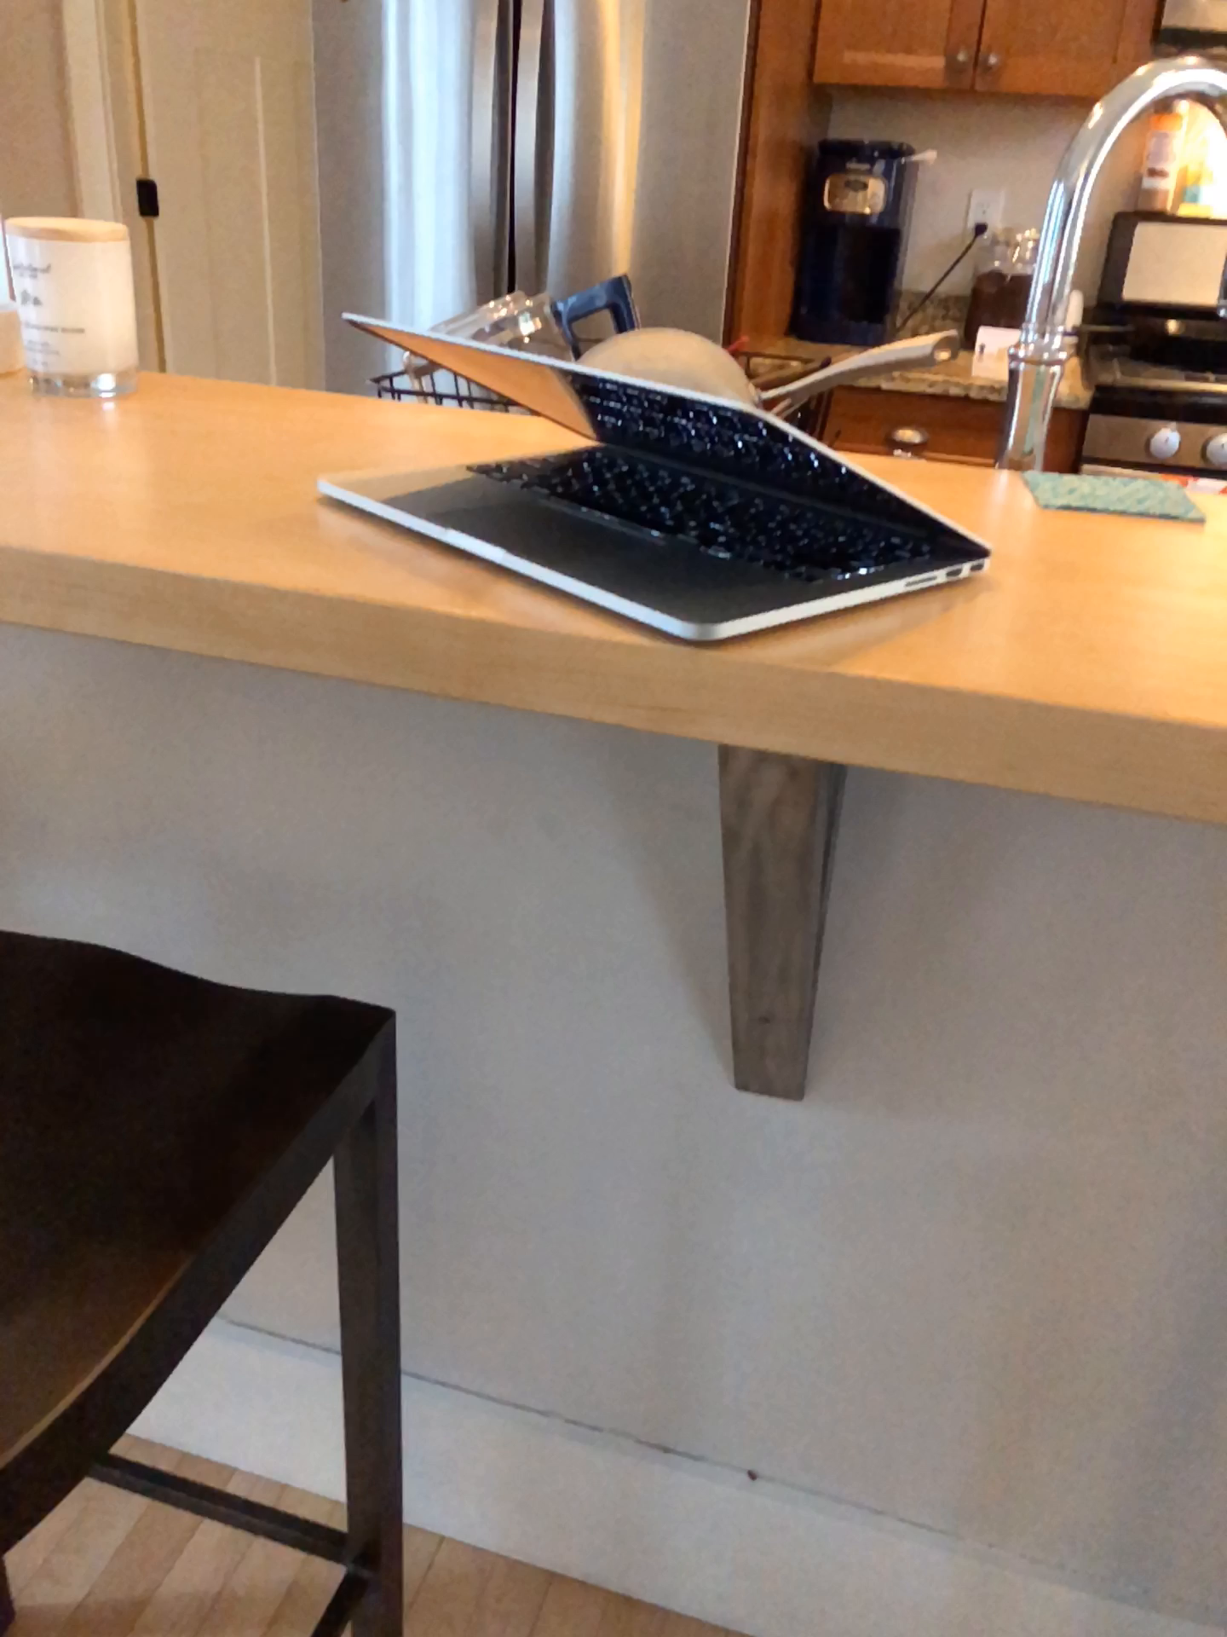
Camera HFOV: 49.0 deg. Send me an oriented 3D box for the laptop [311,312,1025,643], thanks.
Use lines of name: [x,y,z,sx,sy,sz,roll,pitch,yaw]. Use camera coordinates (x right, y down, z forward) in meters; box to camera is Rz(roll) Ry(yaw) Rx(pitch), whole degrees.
laptop: [0.015,-0.193,0.689,0.211,0.084,0.300,-19,34,-38]
